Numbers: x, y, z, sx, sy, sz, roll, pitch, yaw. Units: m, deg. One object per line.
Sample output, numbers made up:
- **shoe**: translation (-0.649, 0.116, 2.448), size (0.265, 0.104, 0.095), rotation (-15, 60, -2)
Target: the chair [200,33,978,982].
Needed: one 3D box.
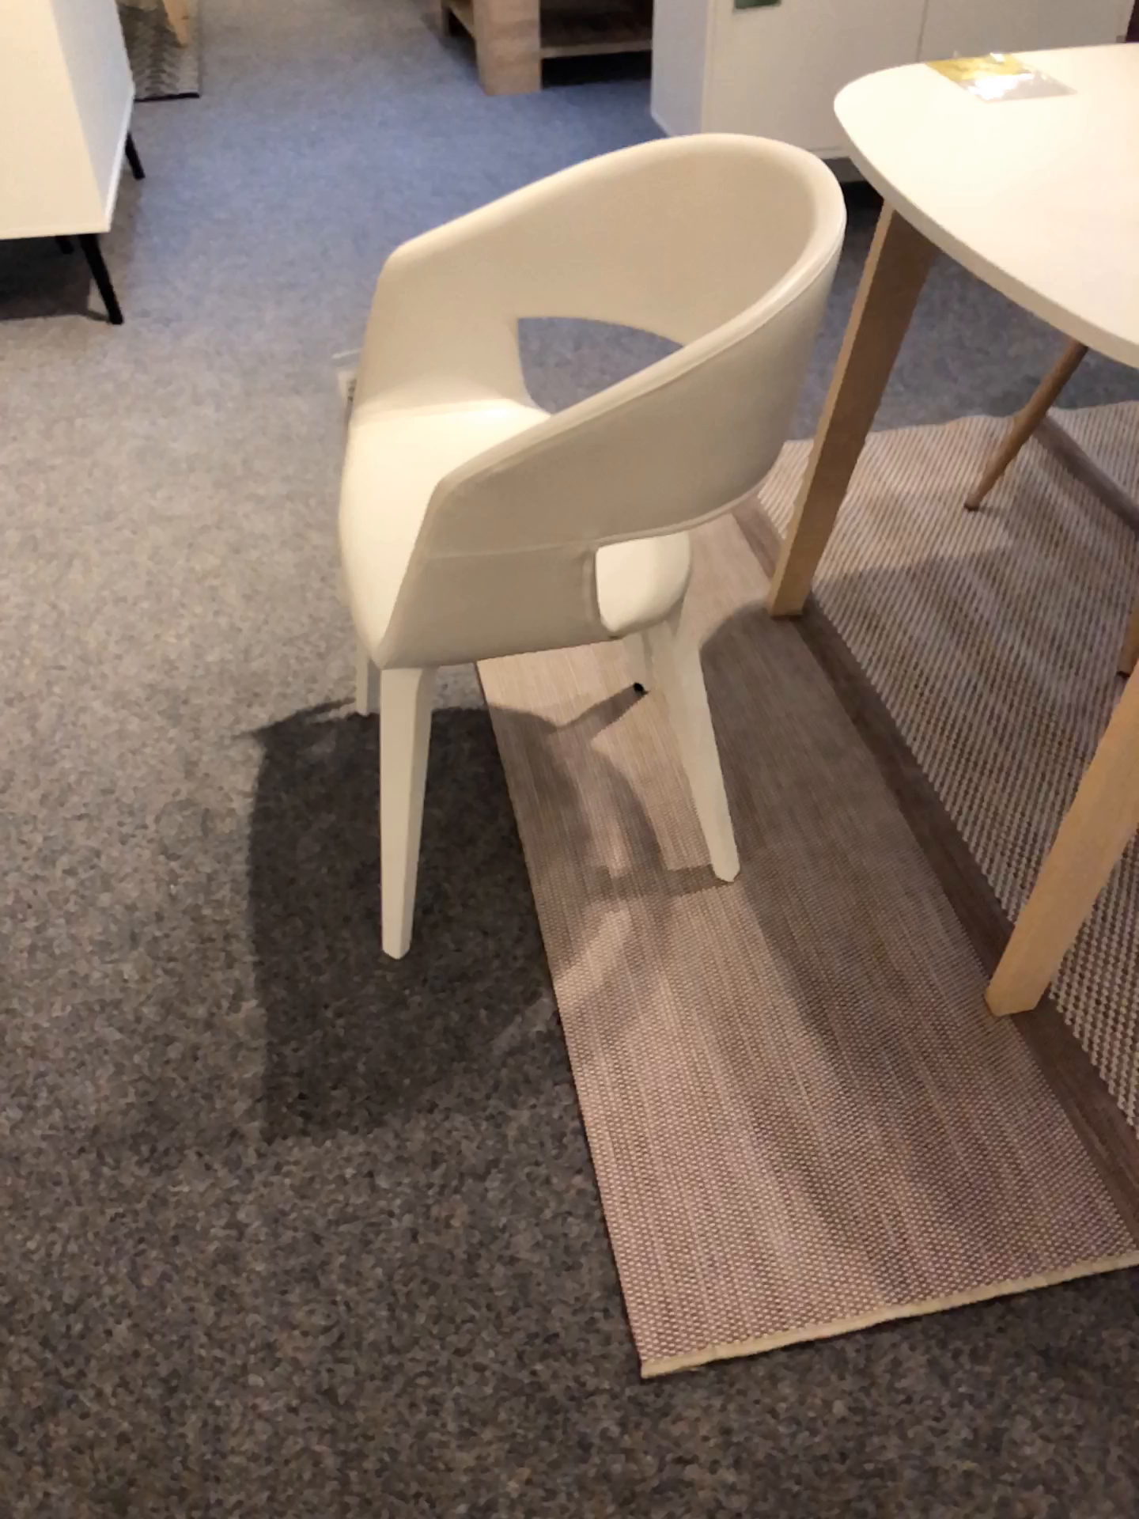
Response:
- **chair**: translation (-0.029, -0.261, 1.338), size (0.561, 0.756, 0.553), rotation (-9, 44, -9)
